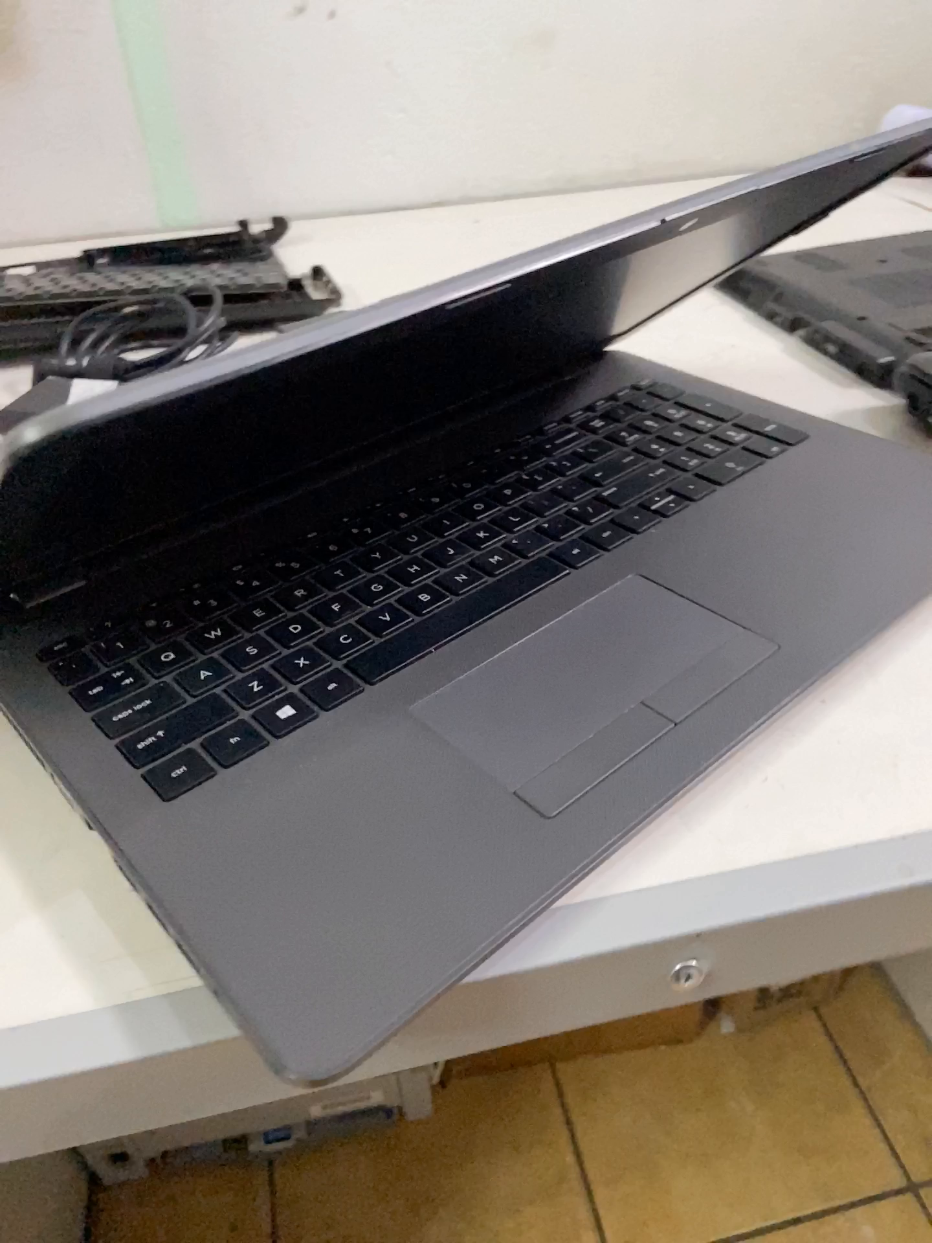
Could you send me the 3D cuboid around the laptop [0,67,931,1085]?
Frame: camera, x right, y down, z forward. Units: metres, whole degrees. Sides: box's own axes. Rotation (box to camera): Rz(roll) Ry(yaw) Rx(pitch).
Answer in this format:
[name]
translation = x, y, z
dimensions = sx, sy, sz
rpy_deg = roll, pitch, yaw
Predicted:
[laptop]
translation = 0.022, -0.086, 0.347
dimensions = 0.380, 0.141, 0.248
rpy_deg = -29, 44, -31
